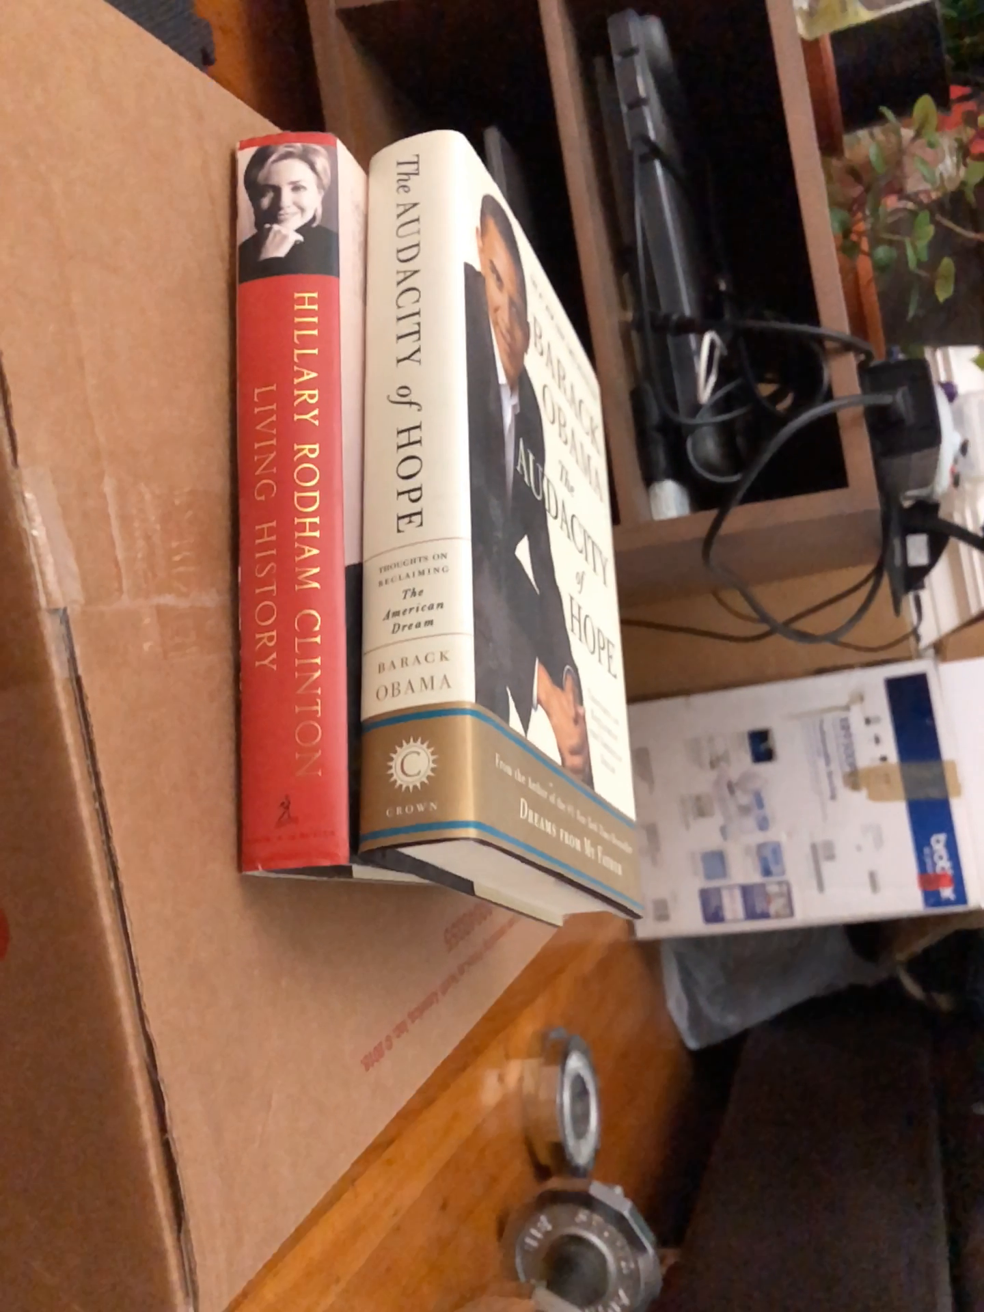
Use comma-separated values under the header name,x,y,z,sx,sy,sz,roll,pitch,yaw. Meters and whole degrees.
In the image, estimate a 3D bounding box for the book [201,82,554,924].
name,x,y,z,sx,sy,sz,roll,pitch,yaw
book,-0.035,-0.035,0.388,0.171,0.040,0.250,32,51,-65

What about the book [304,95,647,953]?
name,x,y,z,sx,sy,sz,roll,pitch,yaw
book,0.002,-0.031,0.397,0.191,0.040,0.250,42,42,-60
